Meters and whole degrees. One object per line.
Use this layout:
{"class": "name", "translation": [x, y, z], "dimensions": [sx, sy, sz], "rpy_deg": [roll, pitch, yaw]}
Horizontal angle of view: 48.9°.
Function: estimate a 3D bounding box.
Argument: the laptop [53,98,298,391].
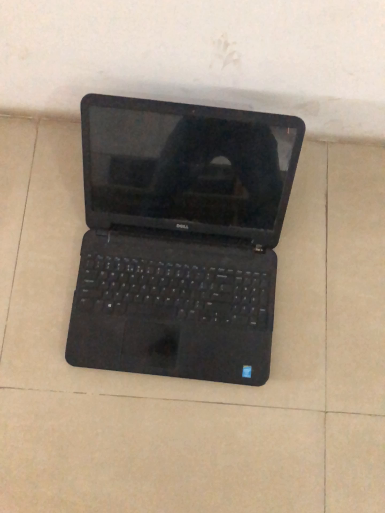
{"class": "laptop", "translation": [-0.012, -0.013, 0.703], "dimensions": [0.322, 0.166, 0.409], "rpy_deg": [6, 78, -2]}
